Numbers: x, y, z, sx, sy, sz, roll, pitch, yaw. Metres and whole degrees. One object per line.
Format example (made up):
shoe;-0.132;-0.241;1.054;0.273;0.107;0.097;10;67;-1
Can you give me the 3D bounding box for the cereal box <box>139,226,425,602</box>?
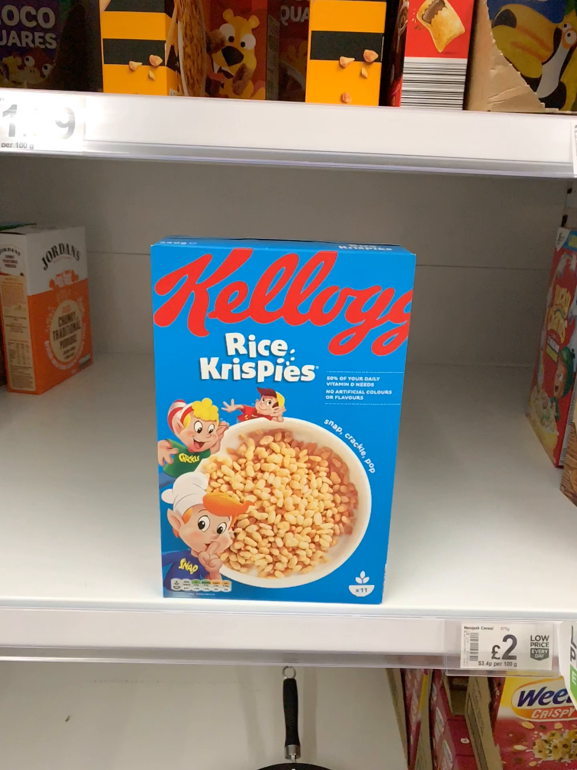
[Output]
cereal box;-0.010;0.029;0.495;0.200;0.298;0.070;2;18;-1
